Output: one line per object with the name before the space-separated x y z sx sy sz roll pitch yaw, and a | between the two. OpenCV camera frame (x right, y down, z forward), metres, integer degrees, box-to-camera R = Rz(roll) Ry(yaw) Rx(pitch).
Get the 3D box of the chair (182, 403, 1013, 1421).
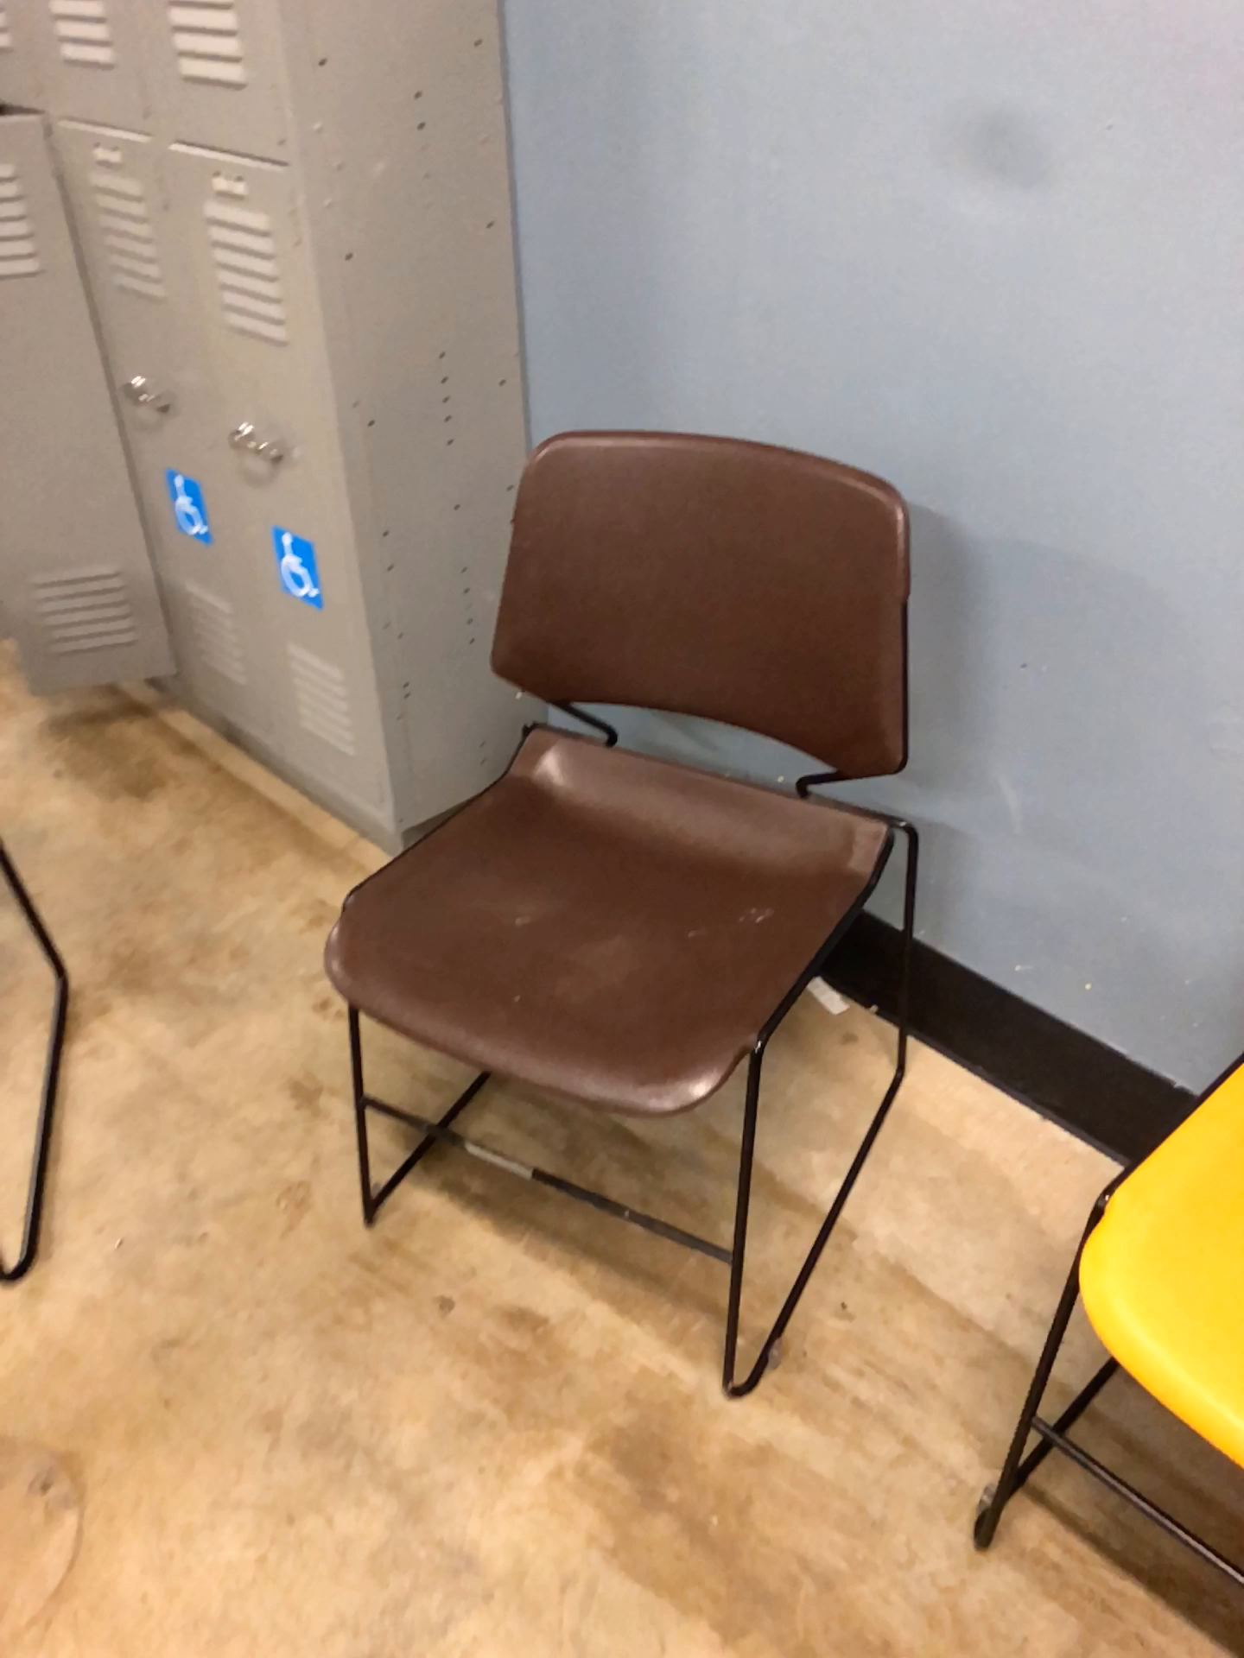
chair | 0.016 0.053 1.393 0.516 0.750 0.548 16 39 24
